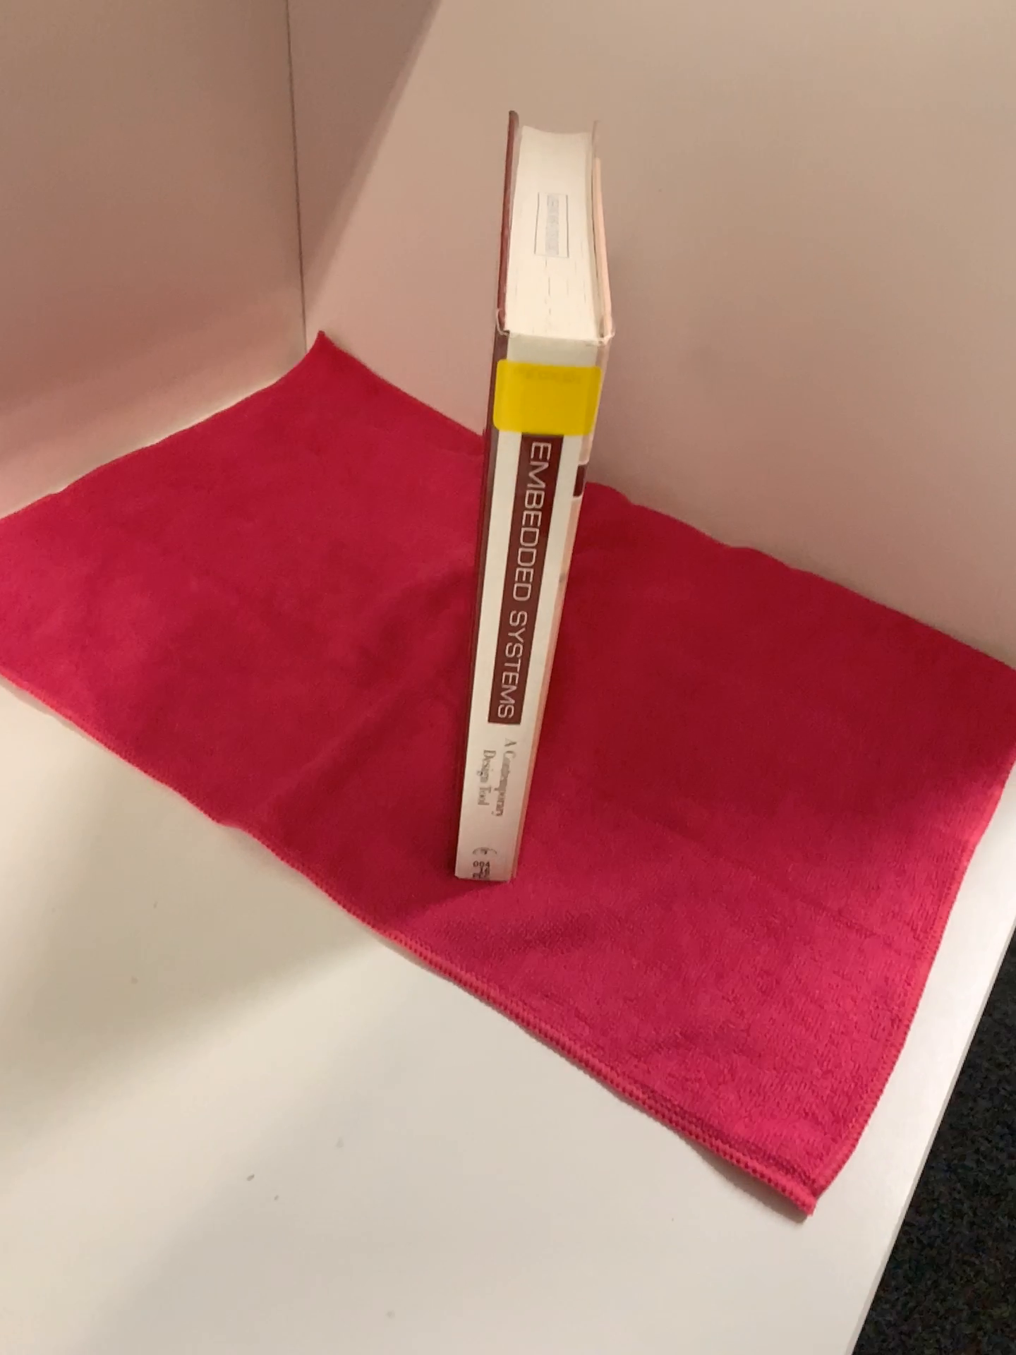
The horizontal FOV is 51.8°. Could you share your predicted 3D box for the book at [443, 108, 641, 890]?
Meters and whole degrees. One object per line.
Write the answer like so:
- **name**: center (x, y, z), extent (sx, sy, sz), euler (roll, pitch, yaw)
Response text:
- **book**: center (0.007, -0.074, 0.454), extent (0.044, 0.258, 0.213), euler (5, 43, -2)
